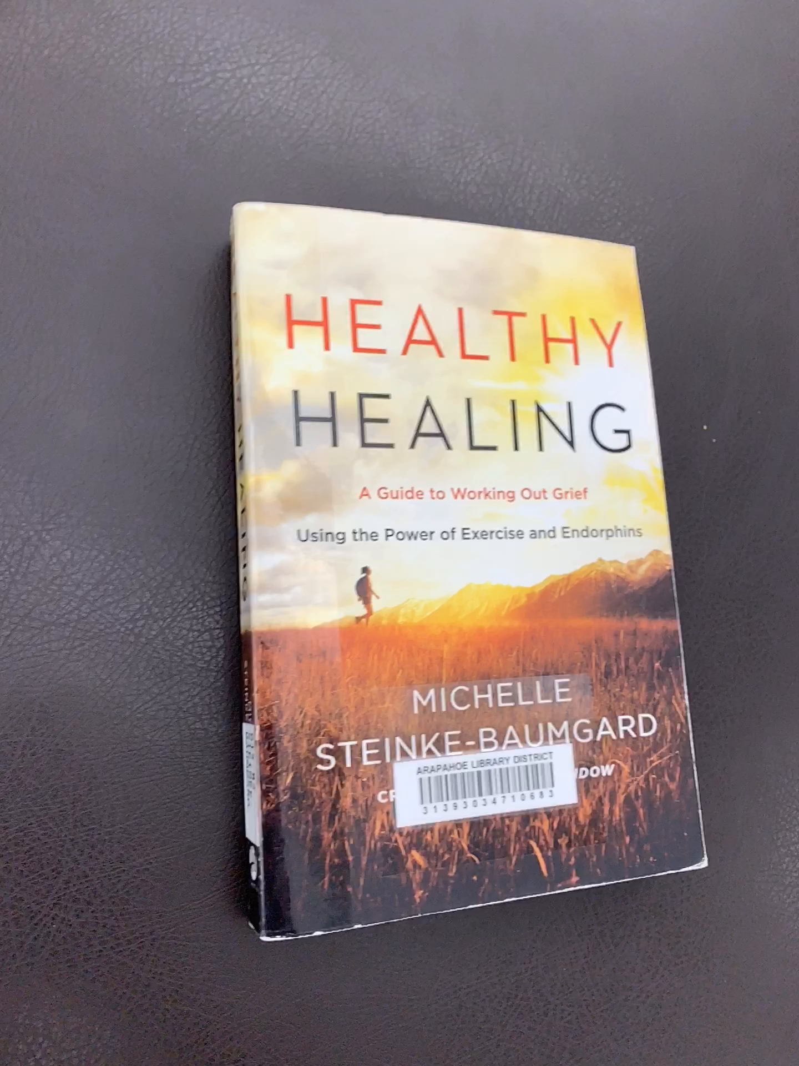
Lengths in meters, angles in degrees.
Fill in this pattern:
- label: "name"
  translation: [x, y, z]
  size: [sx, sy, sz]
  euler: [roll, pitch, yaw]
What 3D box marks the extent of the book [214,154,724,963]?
- label: "book"
  translation: [0.020, 0.000, 0.253]
  size: [0.140, 0.027, 0.212]
  euler: [0, 80, -21]
